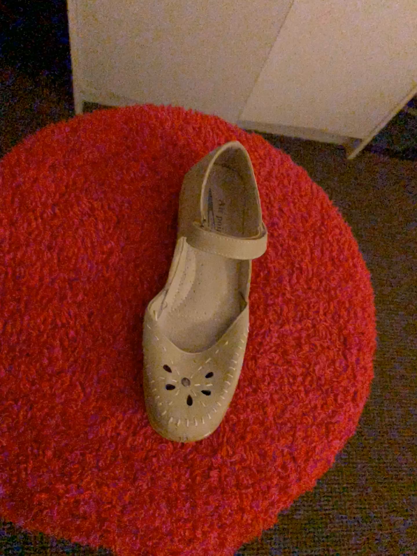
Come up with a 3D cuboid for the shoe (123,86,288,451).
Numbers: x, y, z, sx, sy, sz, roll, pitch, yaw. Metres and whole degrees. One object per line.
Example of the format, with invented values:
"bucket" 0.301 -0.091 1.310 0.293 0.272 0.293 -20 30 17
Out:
"shoe" 0.003 -0.015 0.389 0.095 0.080 0.307 12 68 -10
